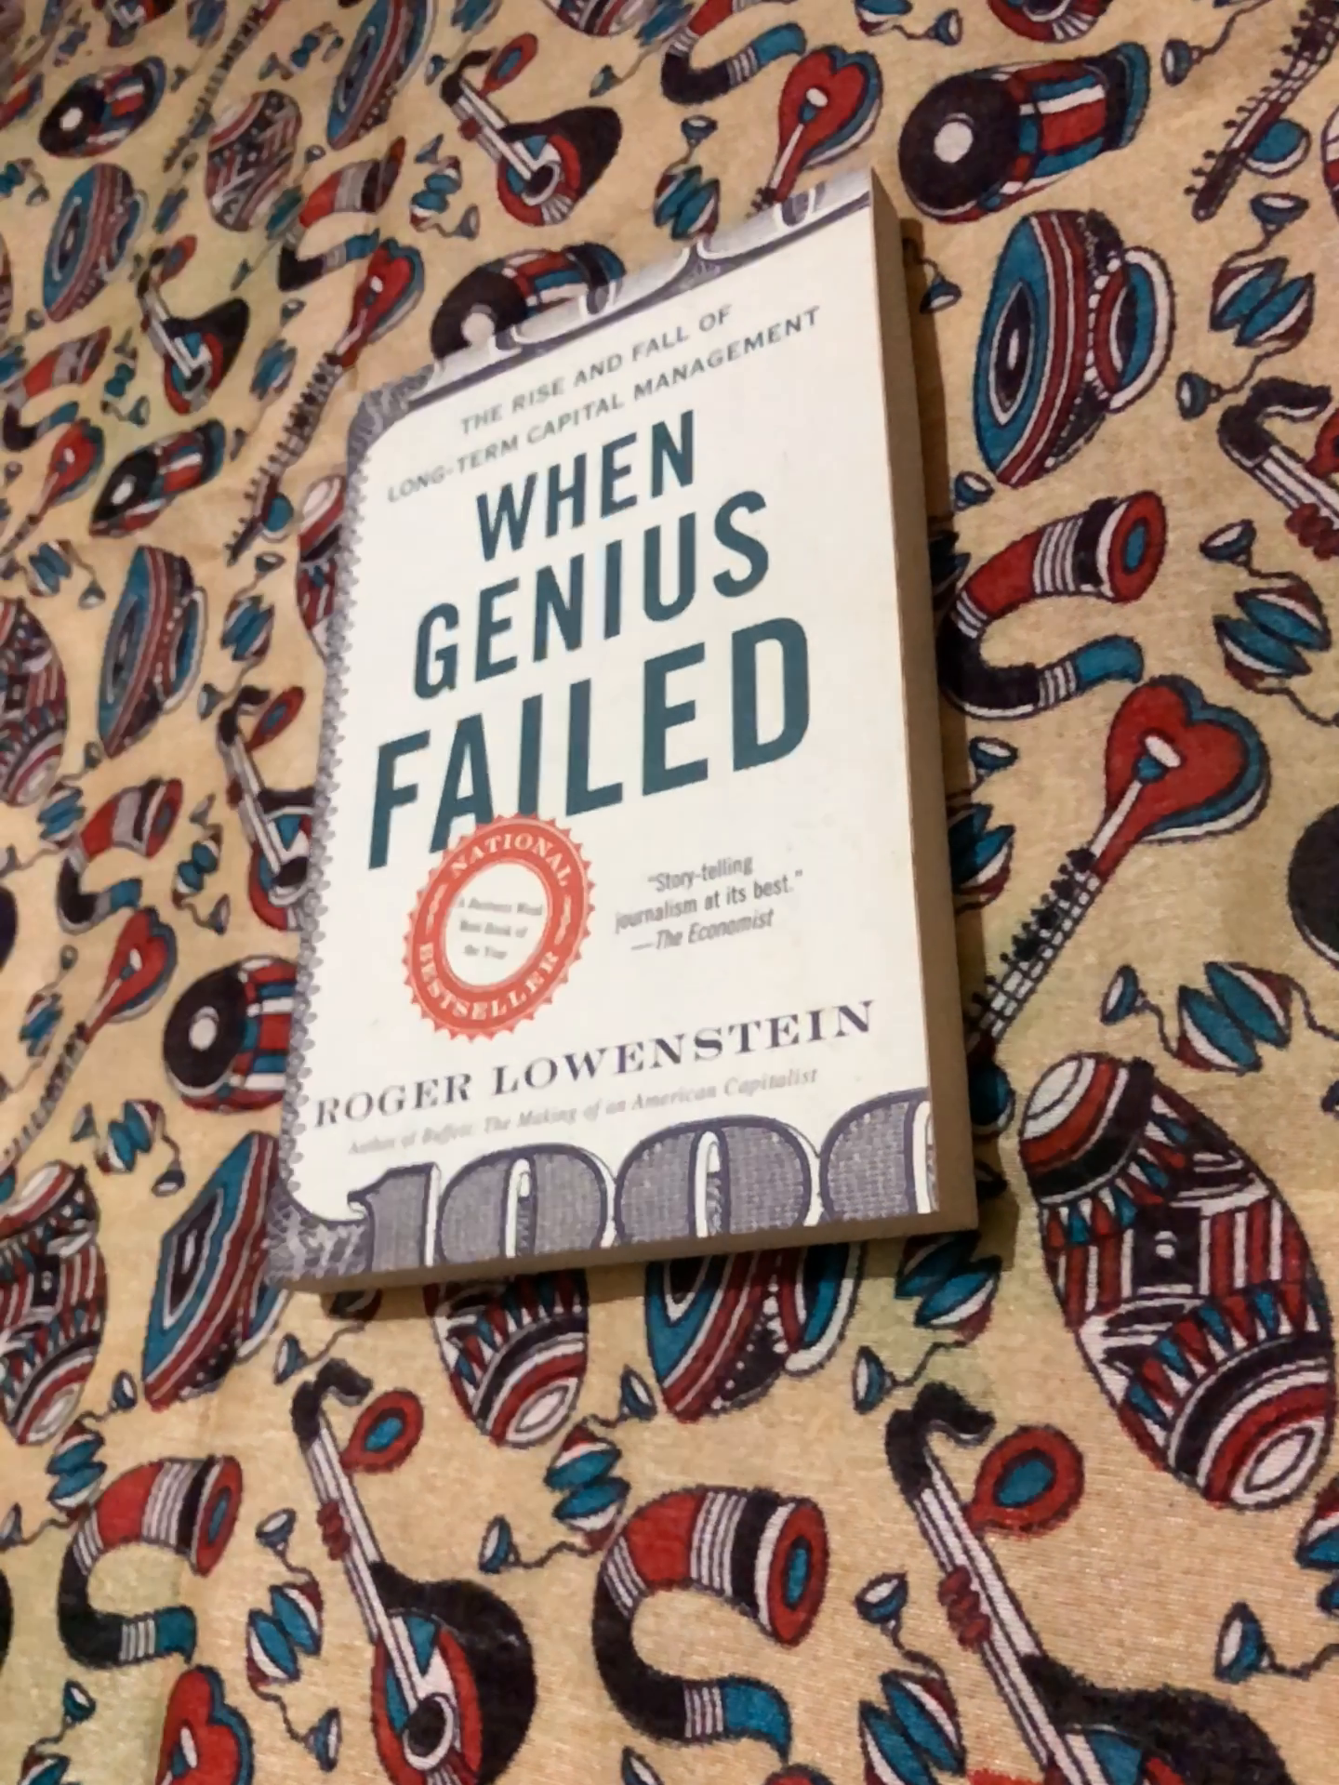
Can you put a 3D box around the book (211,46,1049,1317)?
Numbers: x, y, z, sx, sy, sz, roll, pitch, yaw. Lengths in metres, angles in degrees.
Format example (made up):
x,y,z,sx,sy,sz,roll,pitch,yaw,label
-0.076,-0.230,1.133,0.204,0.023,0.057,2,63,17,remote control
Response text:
x,y,z,sx,sy,sz,roll,pitch,yaw,label
-0.013,-0.039,0.286,0.140,0.030,0.220,-13,65,27,book
